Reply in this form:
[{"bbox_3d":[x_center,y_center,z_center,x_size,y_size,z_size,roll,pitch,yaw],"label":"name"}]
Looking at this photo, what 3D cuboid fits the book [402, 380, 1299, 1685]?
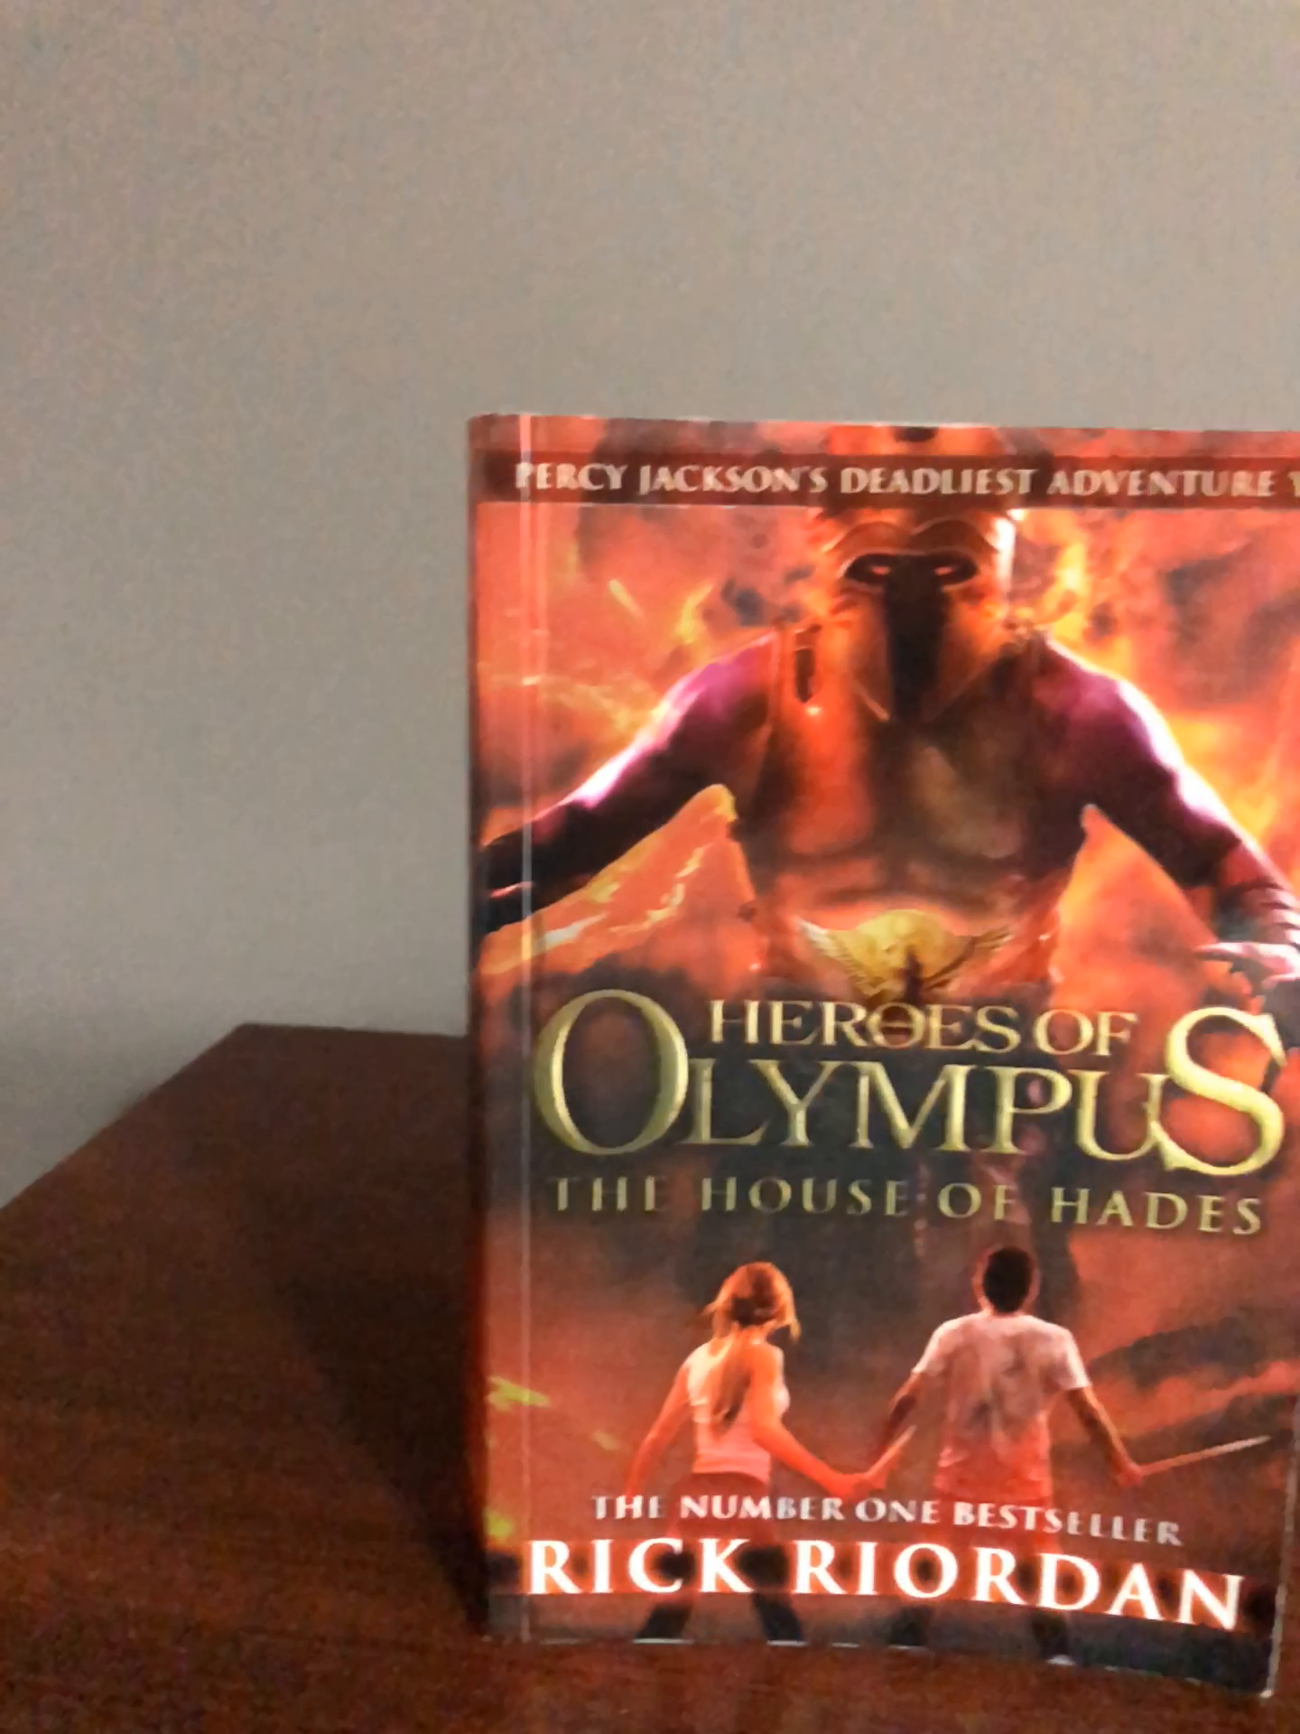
[{"bbox_3d":[0.034,0.027,0.246,0.140,0.199,0.060,2,12,0],"label":"book"}]
